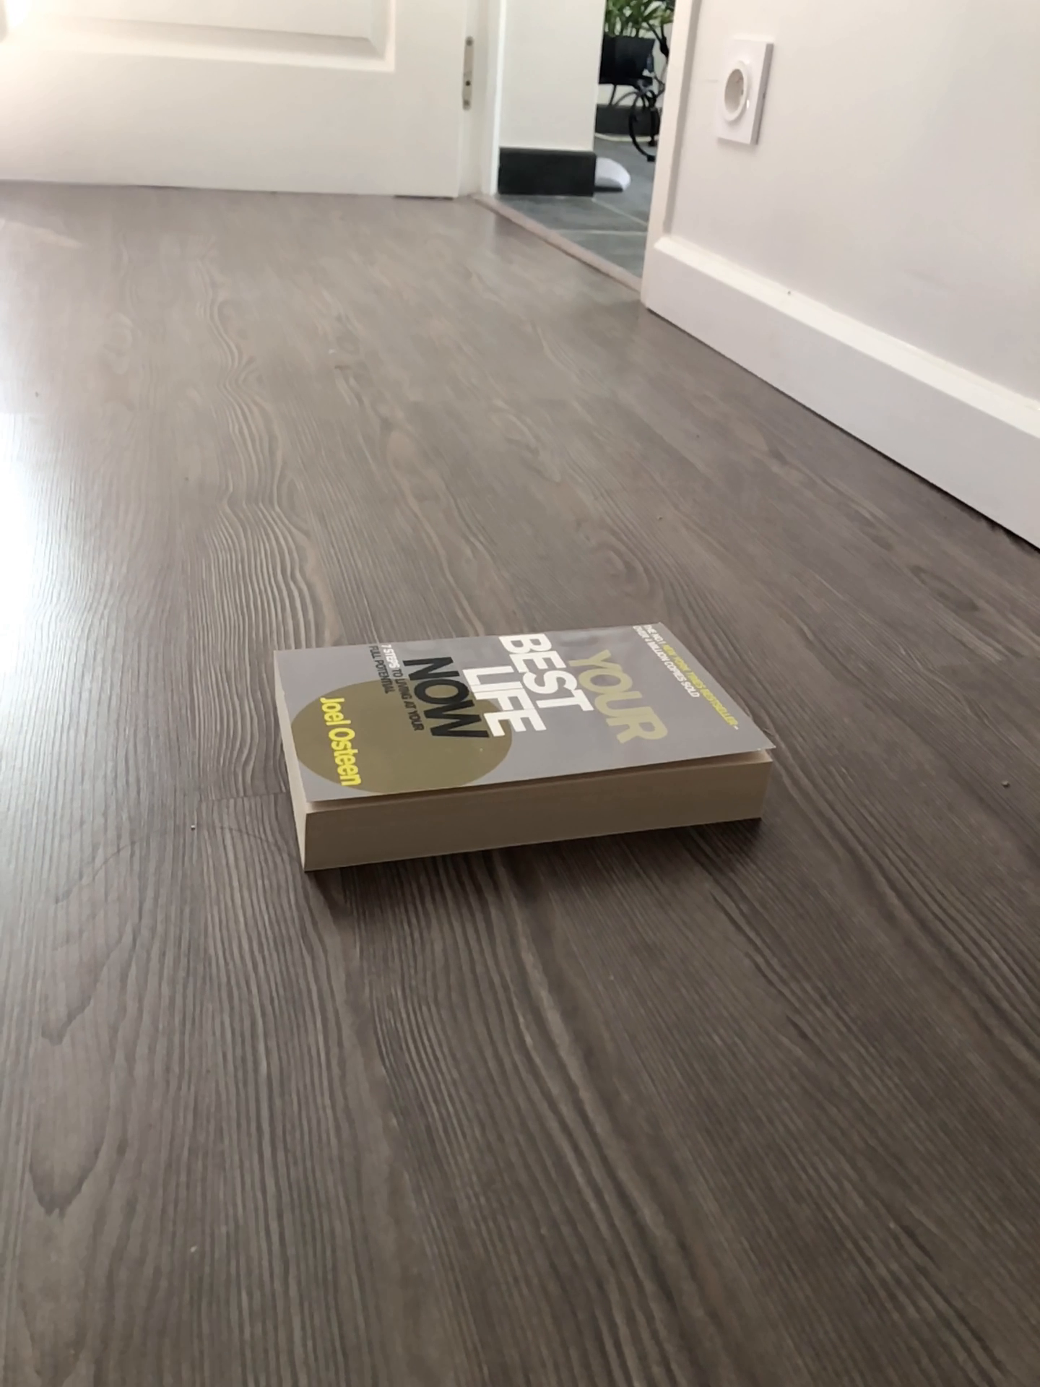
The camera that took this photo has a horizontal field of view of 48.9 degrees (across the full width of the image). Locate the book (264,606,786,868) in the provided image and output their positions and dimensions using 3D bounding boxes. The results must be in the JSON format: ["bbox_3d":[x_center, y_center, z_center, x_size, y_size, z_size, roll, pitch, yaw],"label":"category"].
[{"bbox_3d":[-0.006,0.011,0.510,0.201,0.030,0.137,-5,32,-15],"label":"book"}]
